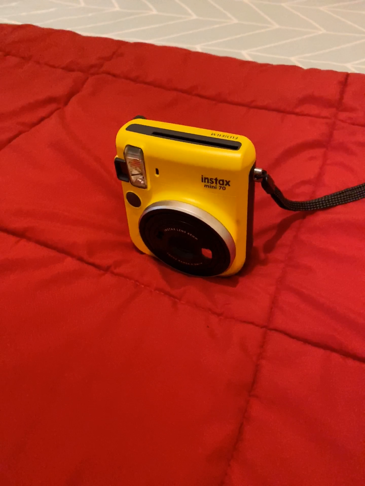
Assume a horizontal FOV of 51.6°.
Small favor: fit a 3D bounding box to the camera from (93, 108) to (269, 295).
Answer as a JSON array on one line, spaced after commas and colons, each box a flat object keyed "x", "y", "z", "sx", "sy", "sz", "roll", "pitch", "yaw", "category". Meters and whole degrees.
[{"x": 0.003, "y": -0.029, "z": 0.273, "sx": 0.095, "sy": 0.103, "sz": 0.057, "roll": 16, "pitch": 51, "yaw": 19, "category": "camera"}]
